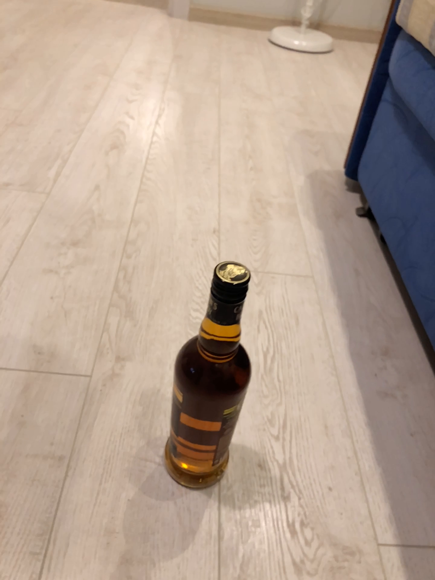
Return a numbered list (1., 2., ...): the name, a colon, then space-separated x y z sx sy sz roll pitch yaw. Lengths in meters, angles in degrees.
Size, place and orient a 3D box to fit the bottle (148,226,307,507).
1. bottle: -0.002 0.081 0.439 0.080 0.257 0.080 6 40 -5
